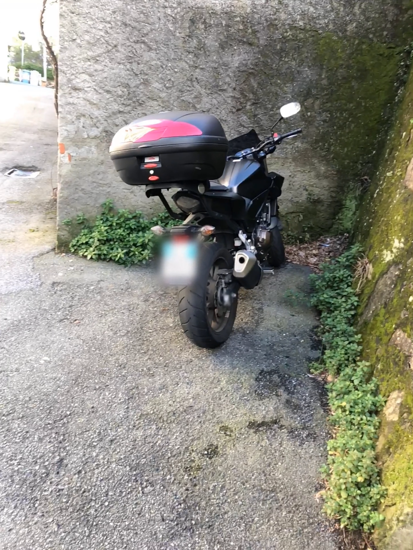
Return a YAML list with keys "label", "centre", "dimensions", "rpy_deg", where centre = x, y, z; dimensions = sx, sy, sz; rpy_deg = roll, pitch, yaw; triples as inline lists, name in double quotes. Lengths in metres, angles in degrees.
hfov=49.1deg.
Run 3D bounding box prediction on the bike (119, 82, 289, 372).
- label: "bike"
  centre: [0.074, -0.543, 3.056]
  dimensions: [0.711, 1.198, 1.793]
  rpy_deg: [10, 26, 8]
